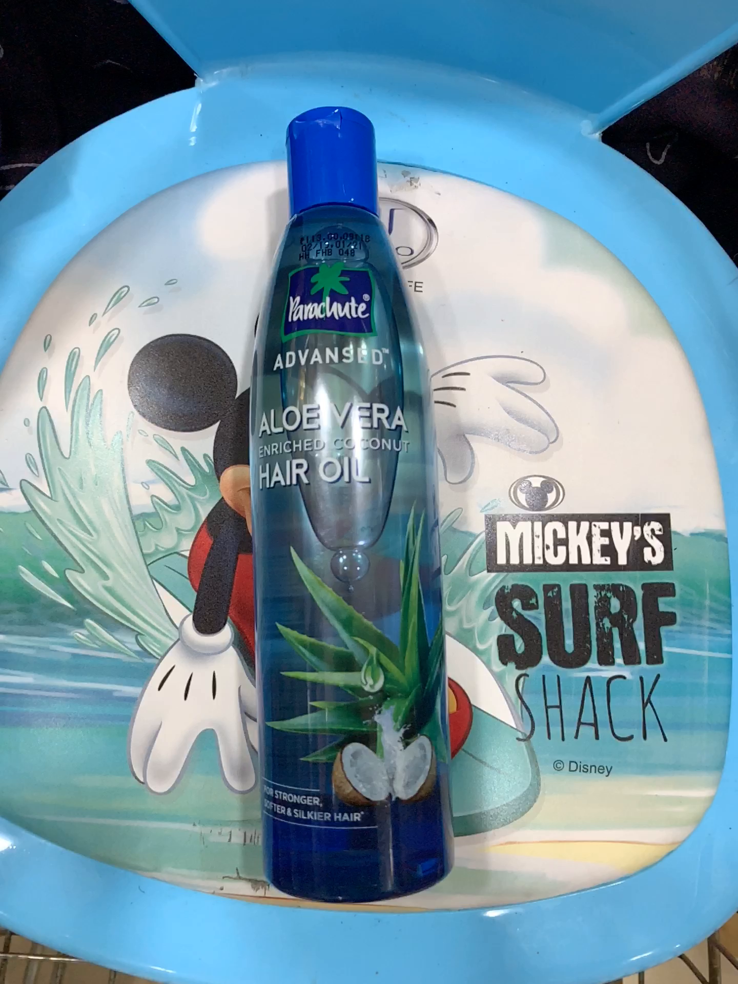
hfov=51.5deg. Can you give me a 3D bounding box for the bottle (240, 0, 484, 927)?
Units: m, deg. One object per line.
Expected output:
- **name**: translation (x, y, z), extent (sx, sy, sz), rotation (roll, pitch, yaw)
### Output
- **bottle**: translation (-0.003, -0.010, 0.187), extent (0.050, 0.050, 0.200), rotation (0, 87, -3)
